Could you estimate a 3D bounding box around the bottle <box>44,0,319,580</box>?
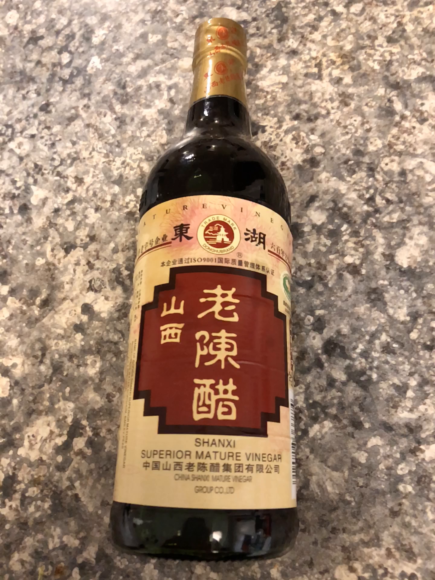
[{"bbox_3d":[-0.001,-0.024,0.197,0.070,0.070,0.241,0,69,7],"label":"bottle"}]
